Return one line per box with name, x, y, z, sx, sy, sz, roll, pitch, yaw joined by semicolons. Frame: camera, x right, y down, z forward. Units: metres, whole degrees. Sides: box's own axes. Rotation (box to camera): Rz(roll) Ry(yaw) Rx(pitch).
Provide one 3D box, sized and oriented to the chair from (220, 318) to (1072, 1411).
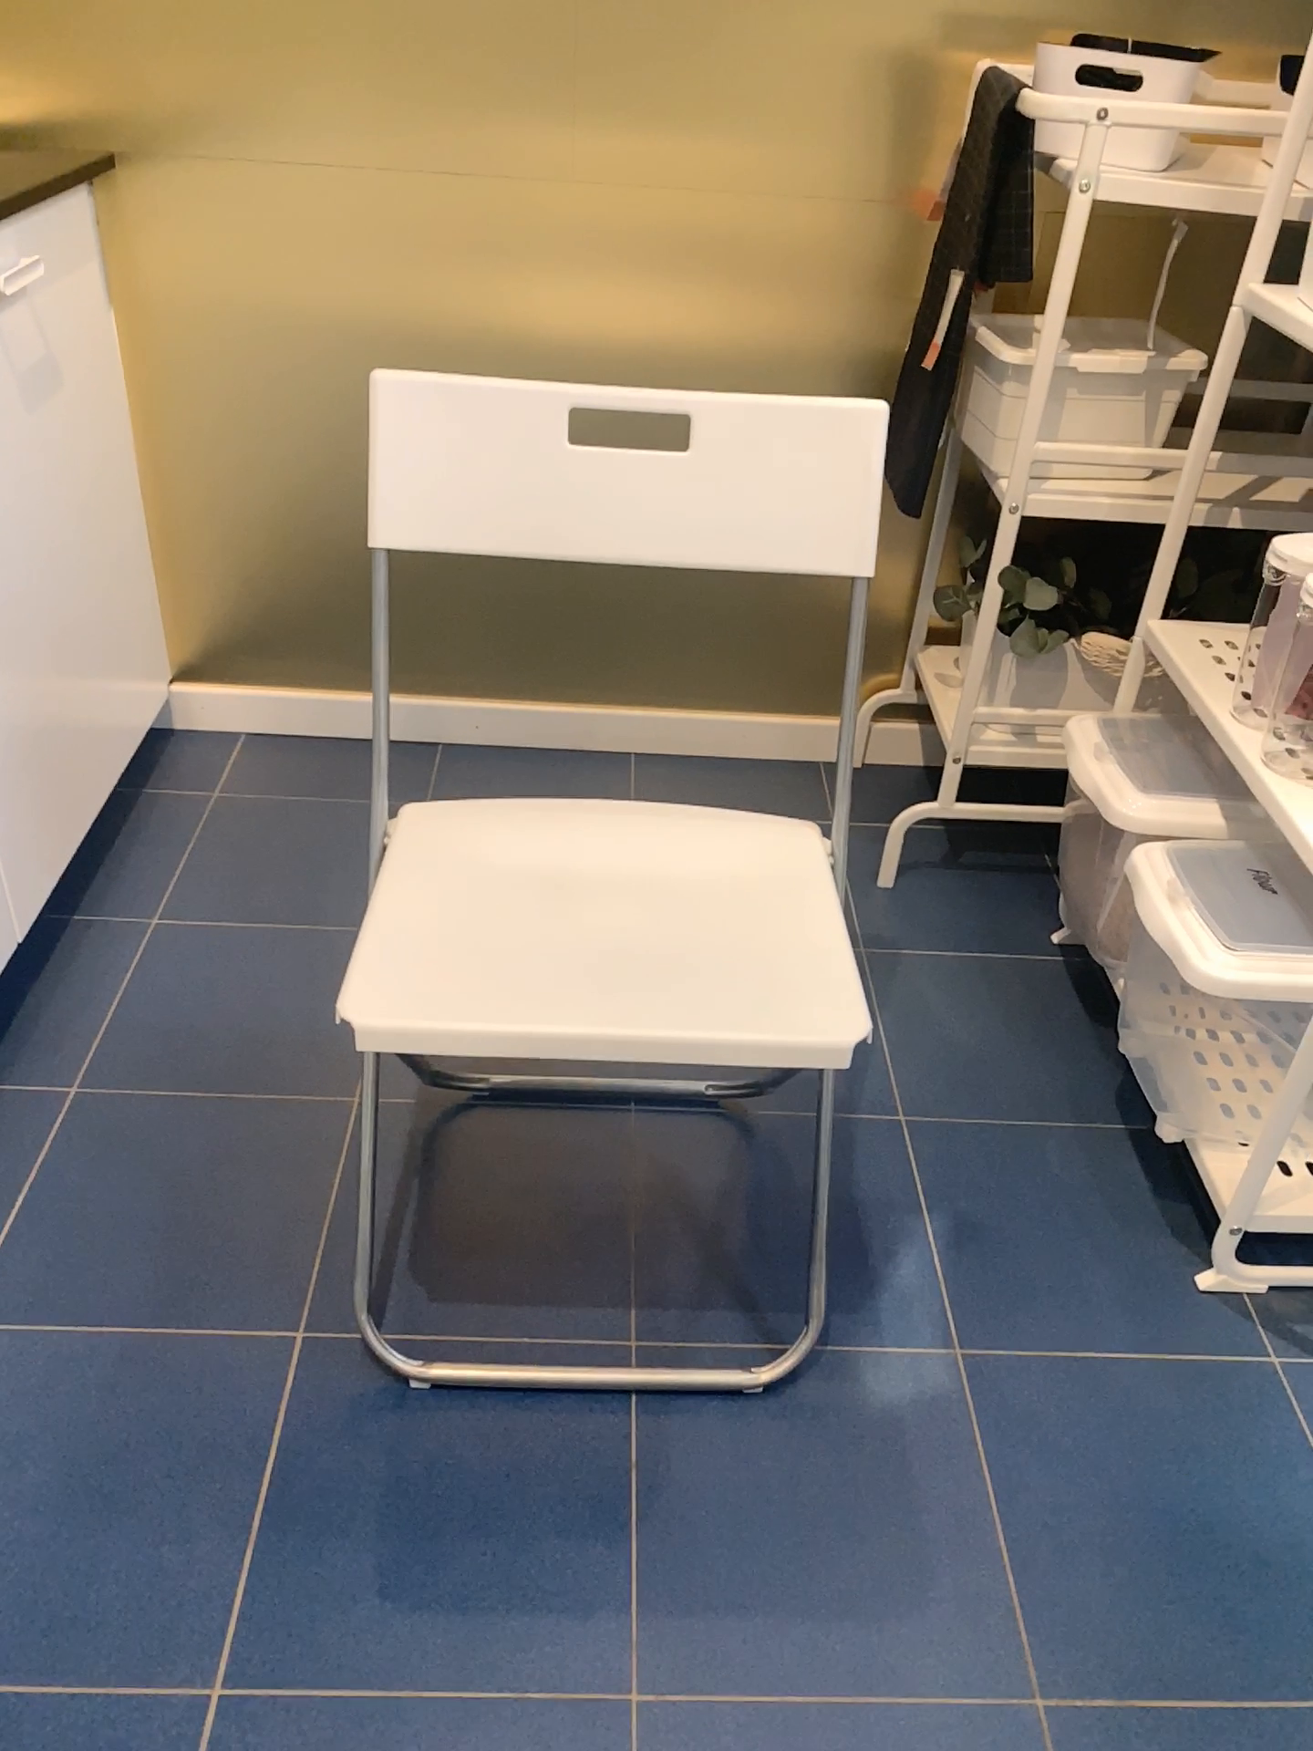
chair;-0.026;0.009;1.074;0.440;0.747;0.422;3;34;-2
